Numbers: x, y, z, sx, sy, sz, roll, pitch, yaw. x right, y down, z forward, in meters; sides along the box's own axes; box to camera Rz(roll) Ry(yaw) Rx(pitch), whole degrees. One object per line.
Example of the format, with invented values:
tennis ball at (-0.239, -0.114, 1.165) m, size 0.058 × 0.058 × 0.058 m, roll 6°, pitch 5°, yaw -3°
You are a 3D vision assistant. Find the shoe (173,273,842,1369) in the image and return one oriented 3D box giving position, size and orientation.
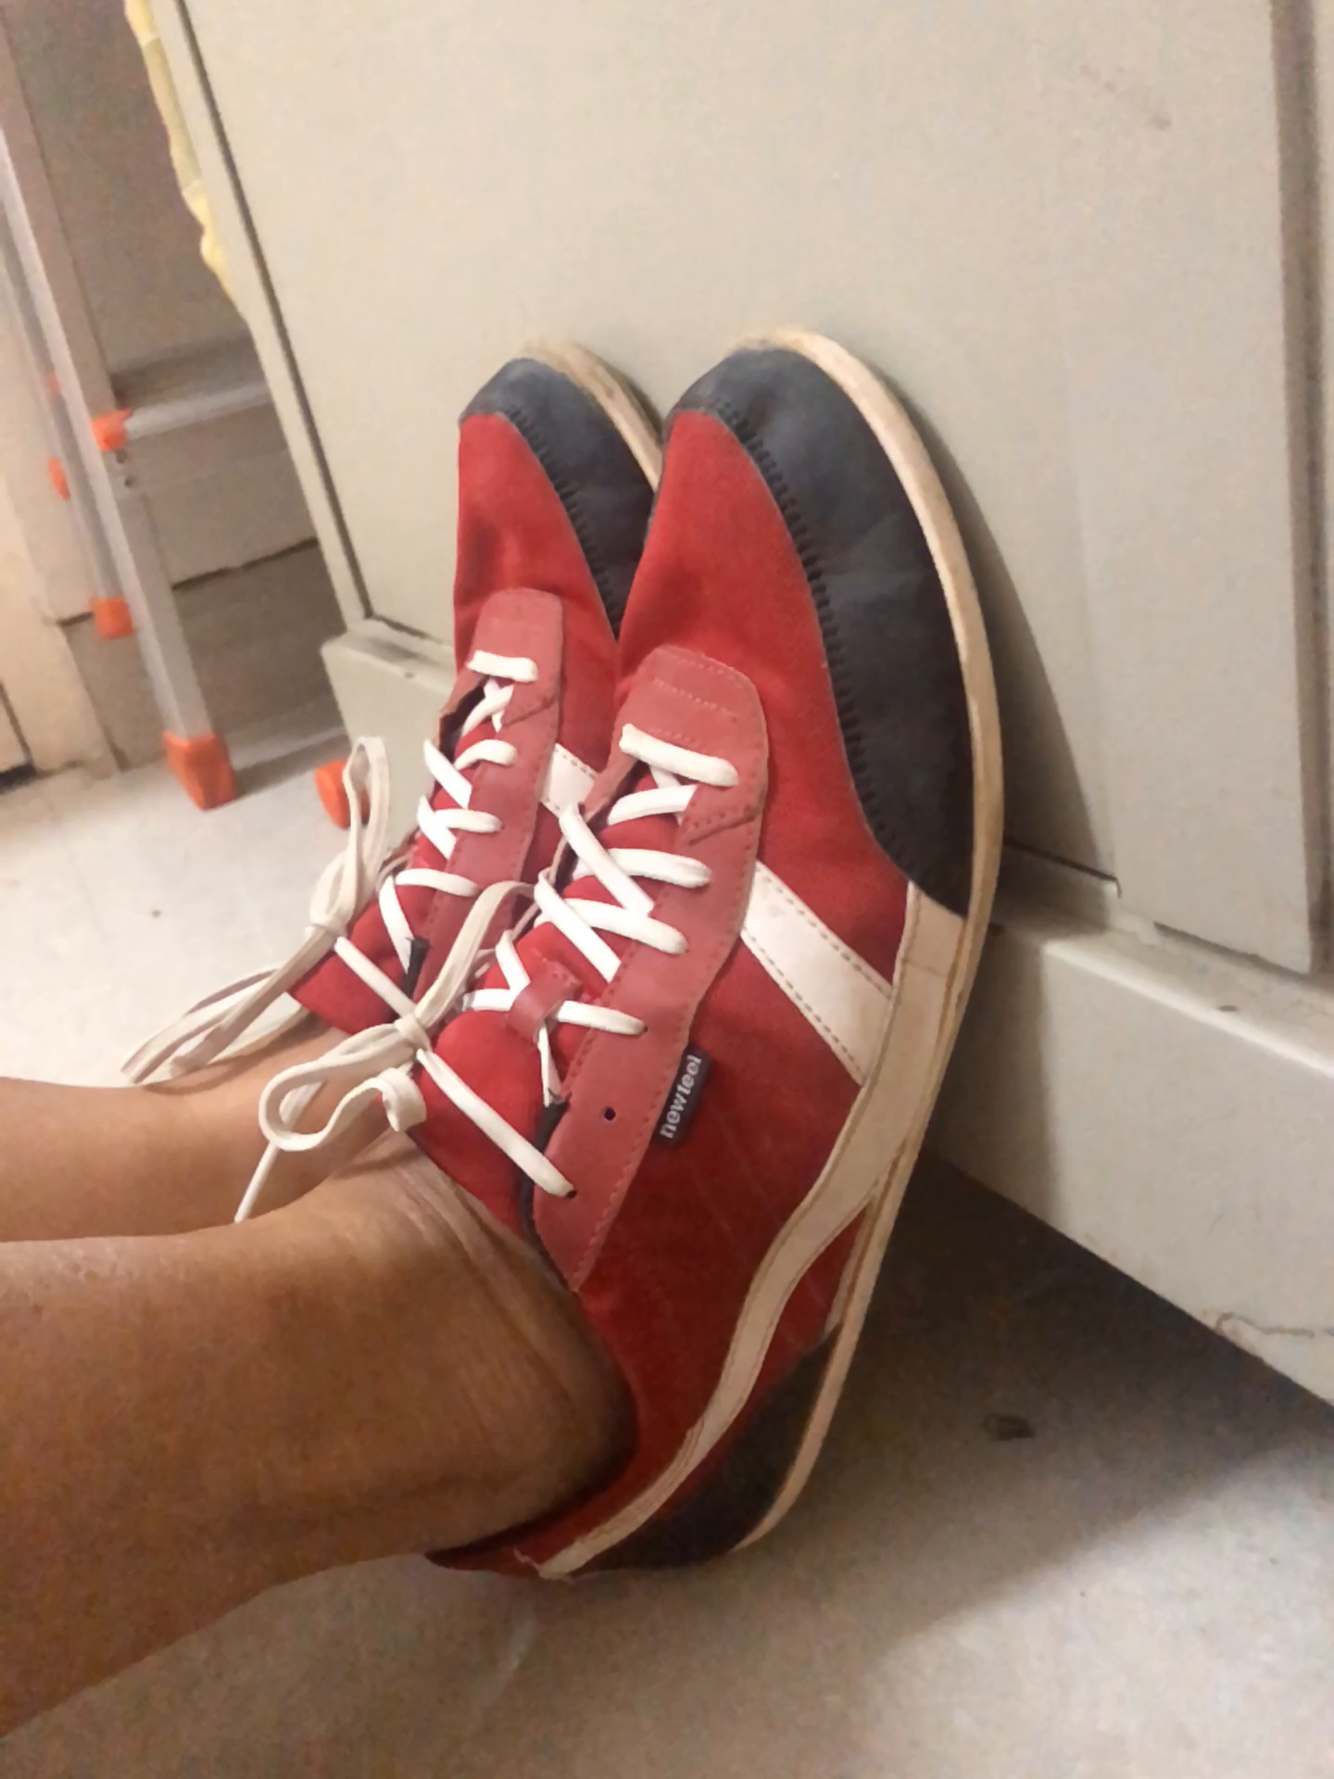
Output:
shoe at (-0.041, -0.017, 0.369) m, size 0.100 × 0.230 × 0.080 m, roll 12°, pitch 2°, yaw 43°

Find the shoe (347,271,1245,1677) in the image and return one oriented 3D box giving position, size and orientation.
shoe at (0.018, 0.014, 0.313) m, size 0.080 × 0.250 × 0.100 m, roll 10°, pitch 9°, yaw -36°
